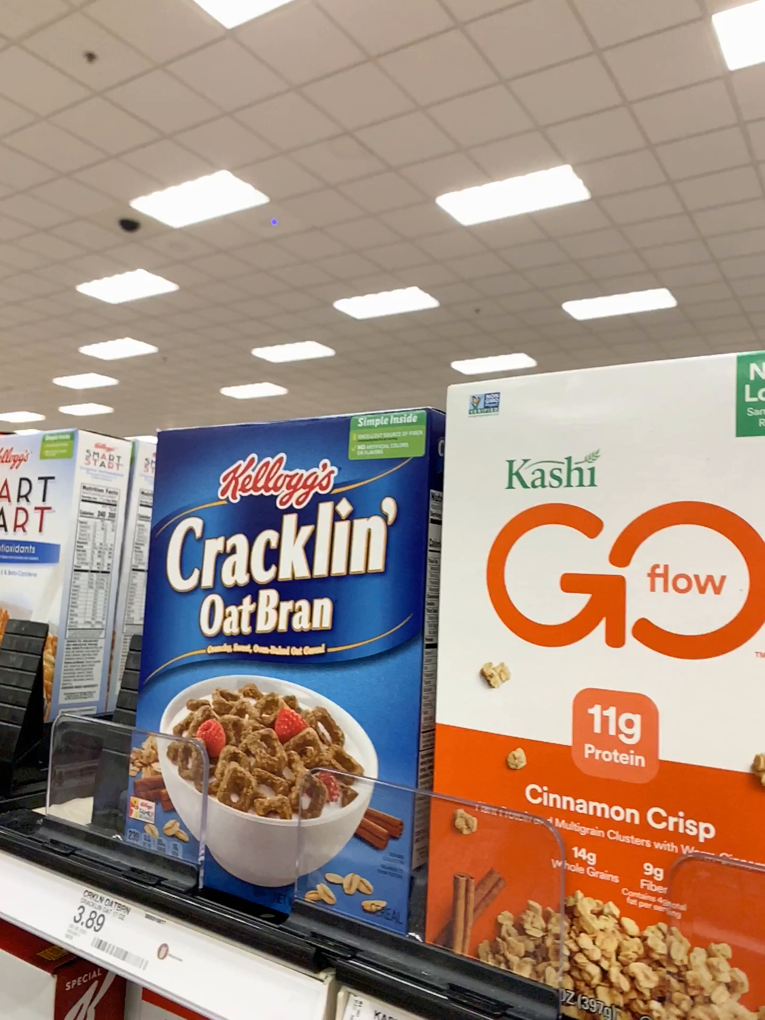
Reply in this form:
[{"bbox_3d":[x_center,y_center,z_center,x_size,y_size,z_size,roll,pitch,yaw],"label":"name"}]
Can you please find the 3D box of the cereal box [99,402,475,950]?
[{"bbox_3d":[-0.054,0.072,0.421,0.190,0.240,0.050,0,-6,29],"label":"cereal box"}]
